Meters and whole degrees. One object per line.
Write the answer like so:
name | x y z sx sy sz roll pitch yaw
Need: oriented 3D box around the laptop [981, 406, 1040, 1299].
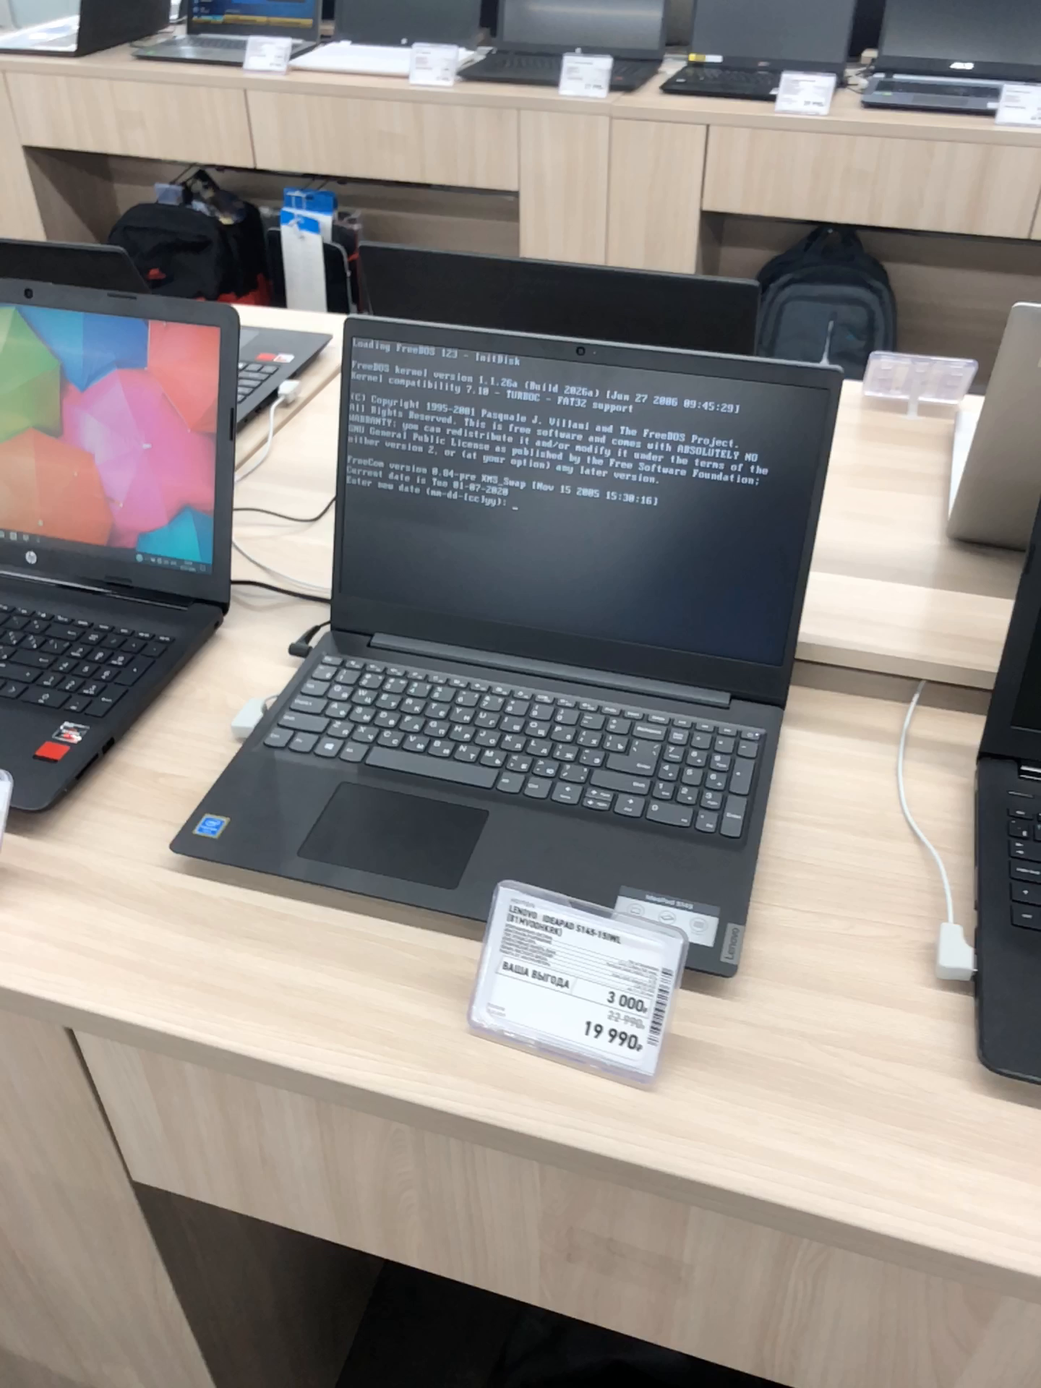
laptop | 0.437 0.043 0.565 0.337 0.208 0.298 10 40 13

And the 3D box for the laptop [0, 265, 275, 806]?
laptop | -0.425 -0.136 0.818 0.351 0.202 0.322 11 40 14

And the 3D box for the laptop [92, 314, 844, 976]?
laptop | -0.004 -0.059 0.713 0.340 0.210 0.323 10 40 14
